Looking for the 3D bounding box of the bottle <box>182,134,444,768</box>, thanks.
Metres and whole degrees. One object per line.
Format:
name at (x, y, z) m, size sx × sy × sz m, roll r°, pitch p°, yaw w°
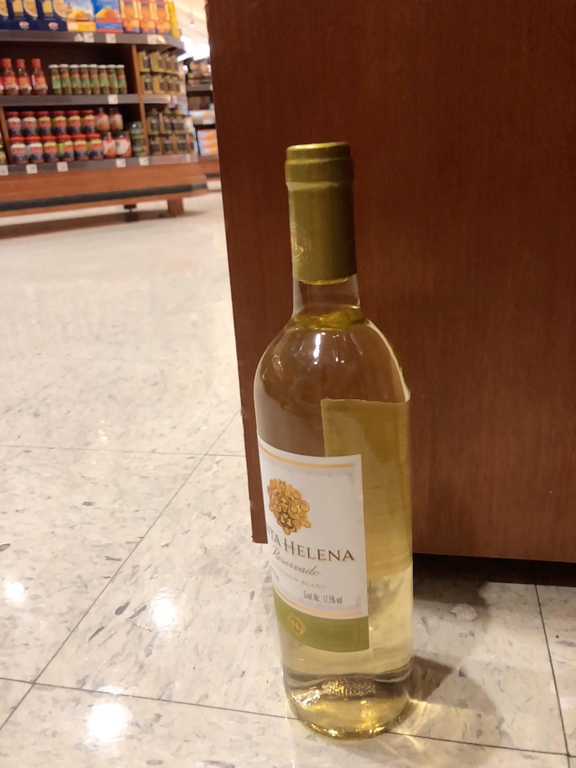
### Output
bottle at (0.019, 0.034, 0.302) m, size 0.070 × 0.278 × 0.080 m, roll -20°, pitch 25°, yaw -39°
